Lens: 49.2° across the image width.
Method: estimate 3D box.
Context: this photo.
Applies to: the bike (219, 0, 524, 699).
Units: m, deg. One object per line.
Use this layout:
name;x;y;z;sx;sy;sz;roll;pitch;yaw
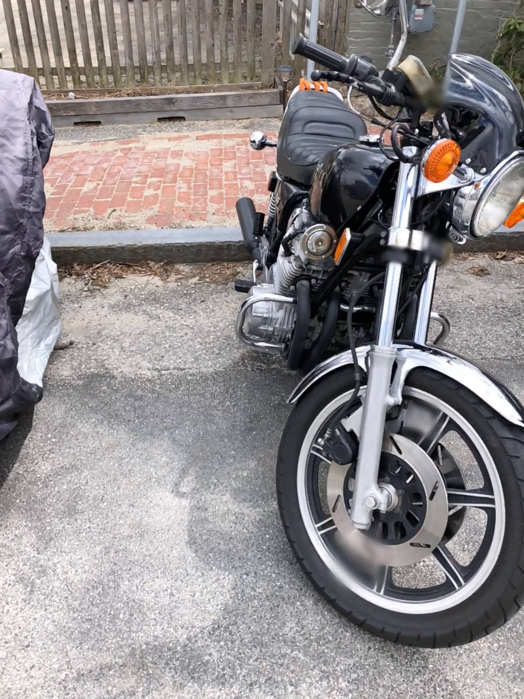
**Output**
bike;0.362;-0.286;1.735;0.709;1.157;1.980;-5;37;-9
